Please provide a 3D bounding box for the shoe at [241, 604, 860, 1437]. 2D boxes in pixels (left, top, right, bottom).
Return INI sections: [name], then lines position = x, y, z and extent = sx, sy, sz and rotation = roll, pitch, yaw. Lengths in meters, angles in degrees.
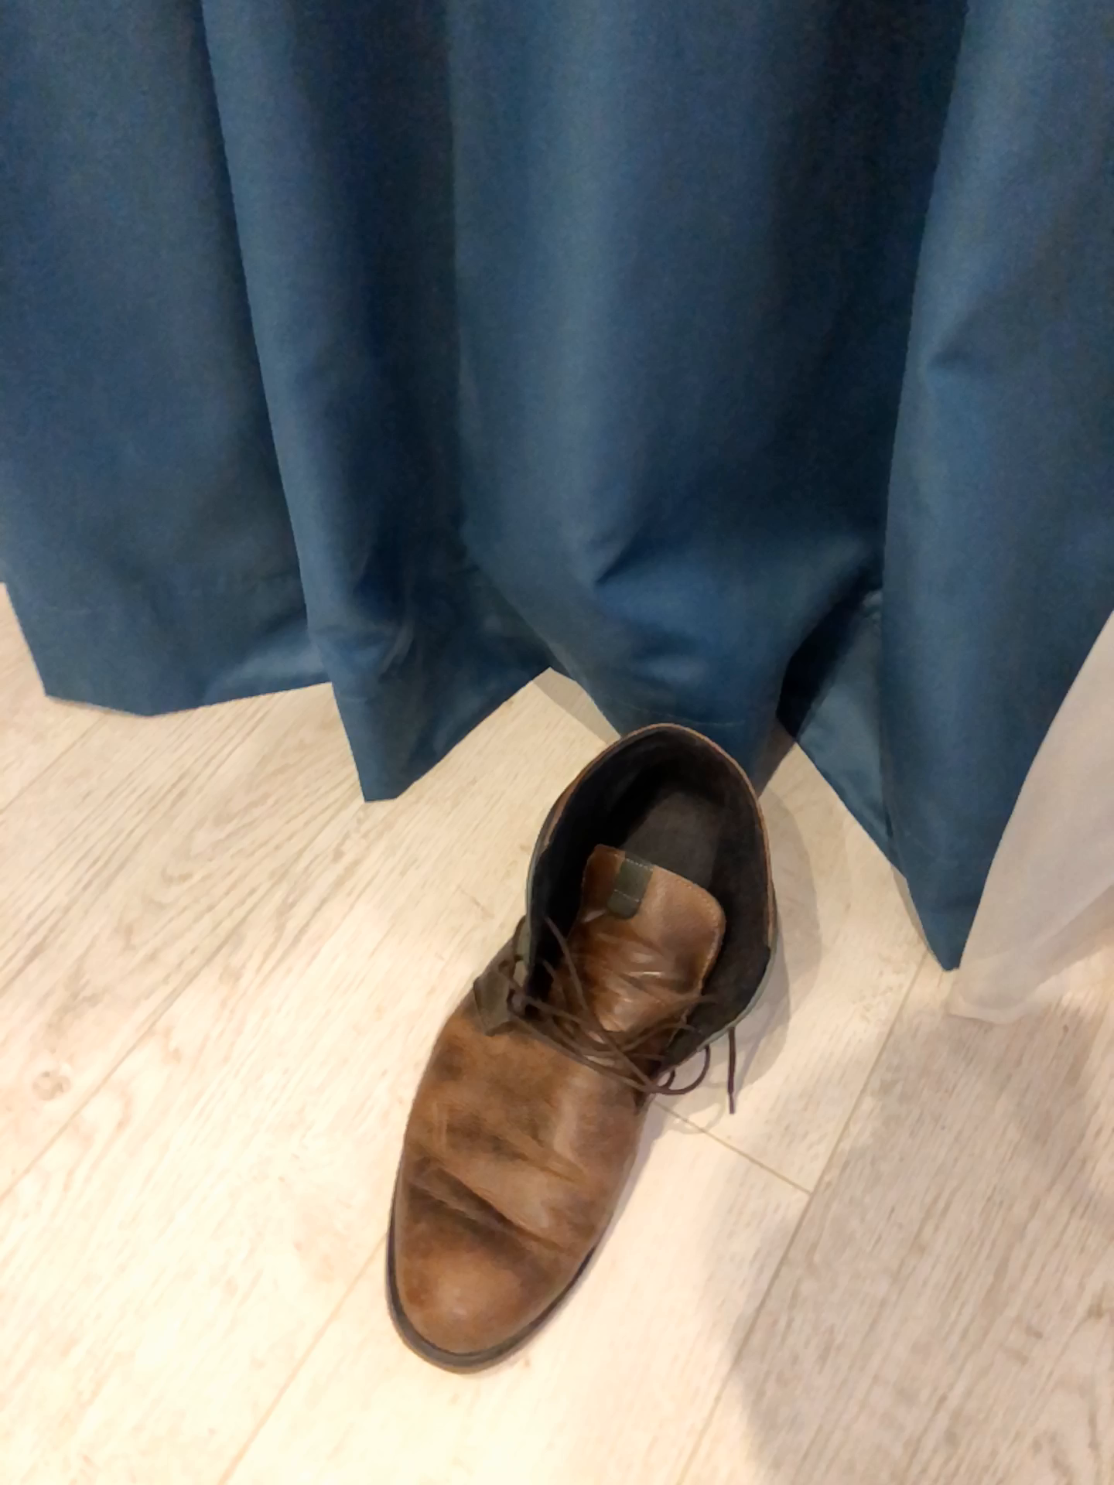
[shoe]
position = 0.014, 0.115, 0.573
extent = 0.130, 0.159, 0.322
rotation = 22, 55, 15
